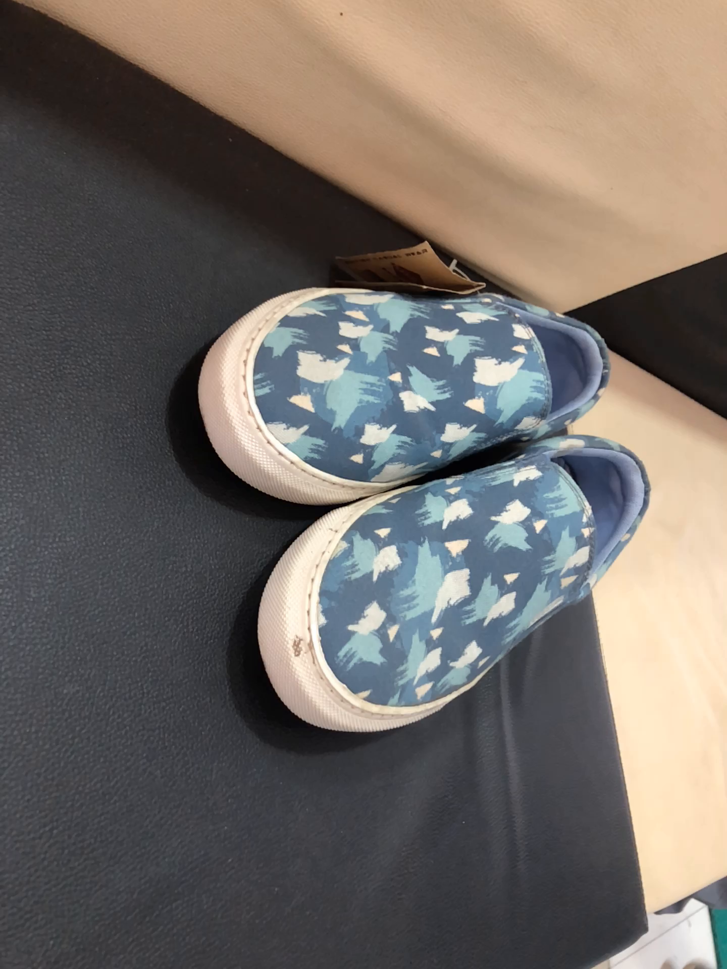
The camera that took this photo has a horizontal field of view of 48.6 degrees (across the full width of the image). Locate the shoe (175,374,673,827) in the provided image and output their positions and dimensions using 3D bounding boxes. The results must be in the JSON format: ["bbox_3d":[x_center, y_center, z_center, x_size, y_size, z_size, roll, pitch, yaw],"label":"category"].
[{"bbox_3d":[0.057,0.037,0.418,0.282,0.089,0.120,-25,96,-50],"label":"shoe"}]

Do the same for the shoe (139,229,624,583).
[{"bbox_3d":[0.037,-0.058,0.401,0.282,0.060,0.110,-25,96,-50],"label":"shoe"}]
